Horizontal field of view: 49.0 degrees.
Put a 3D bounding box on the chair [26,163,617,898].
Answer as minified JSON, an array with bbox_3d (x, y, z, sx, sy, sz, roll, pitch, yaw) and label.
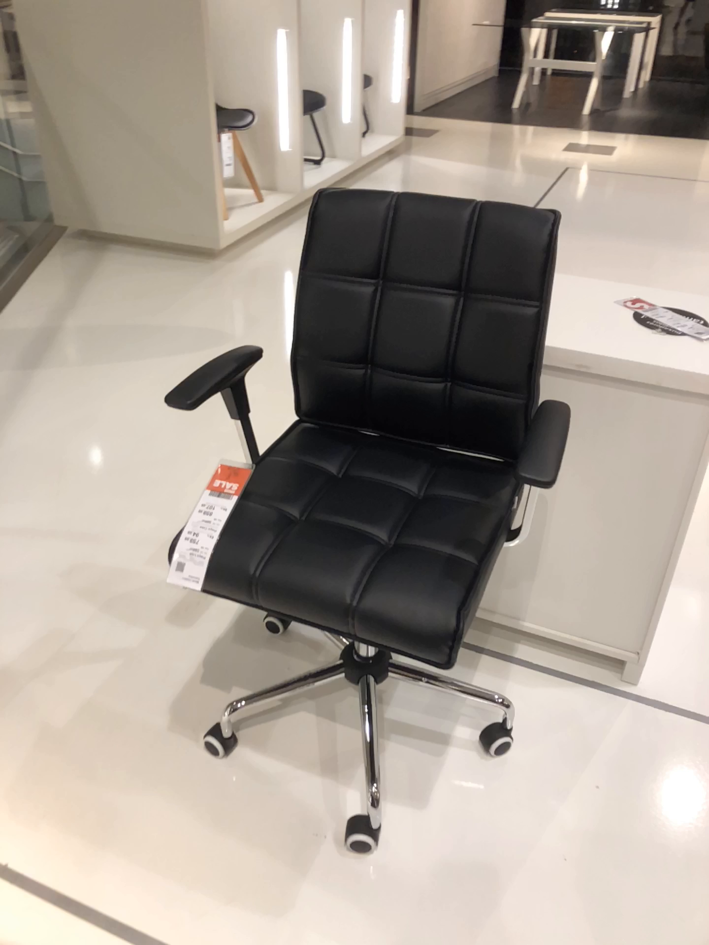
[{"bbox_3d":[0.025,0.039,1.365,0.620,0.913,0.745,12,35,16],"label":"chair"}]
